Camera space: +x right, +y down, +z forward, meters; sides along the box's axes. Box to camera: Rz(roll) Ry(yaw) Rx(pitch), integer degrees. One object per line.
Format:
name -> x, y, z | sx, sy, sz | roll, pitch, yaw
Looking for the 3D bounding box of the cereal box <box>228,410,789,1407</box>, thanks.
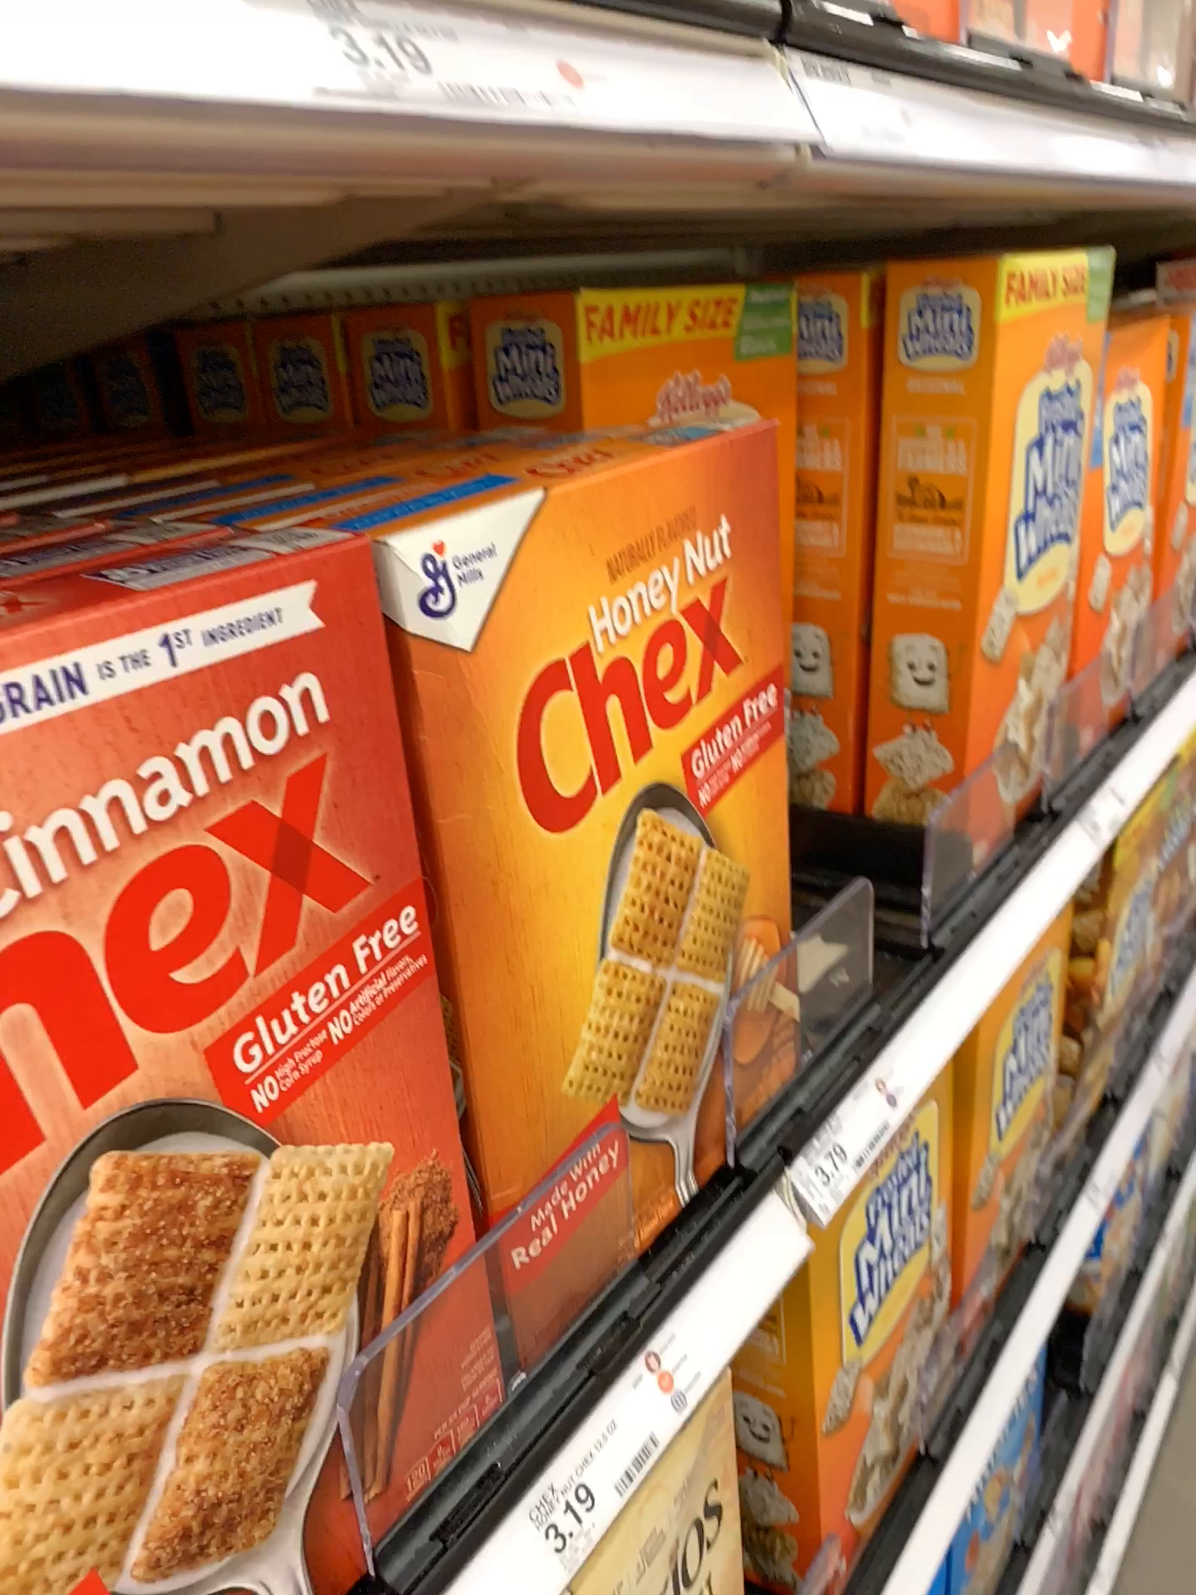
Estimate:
cereal box -> -0.006, 0.023, 0.428 | 0.060, 0.279, 0.201 | 12, 27, 32
